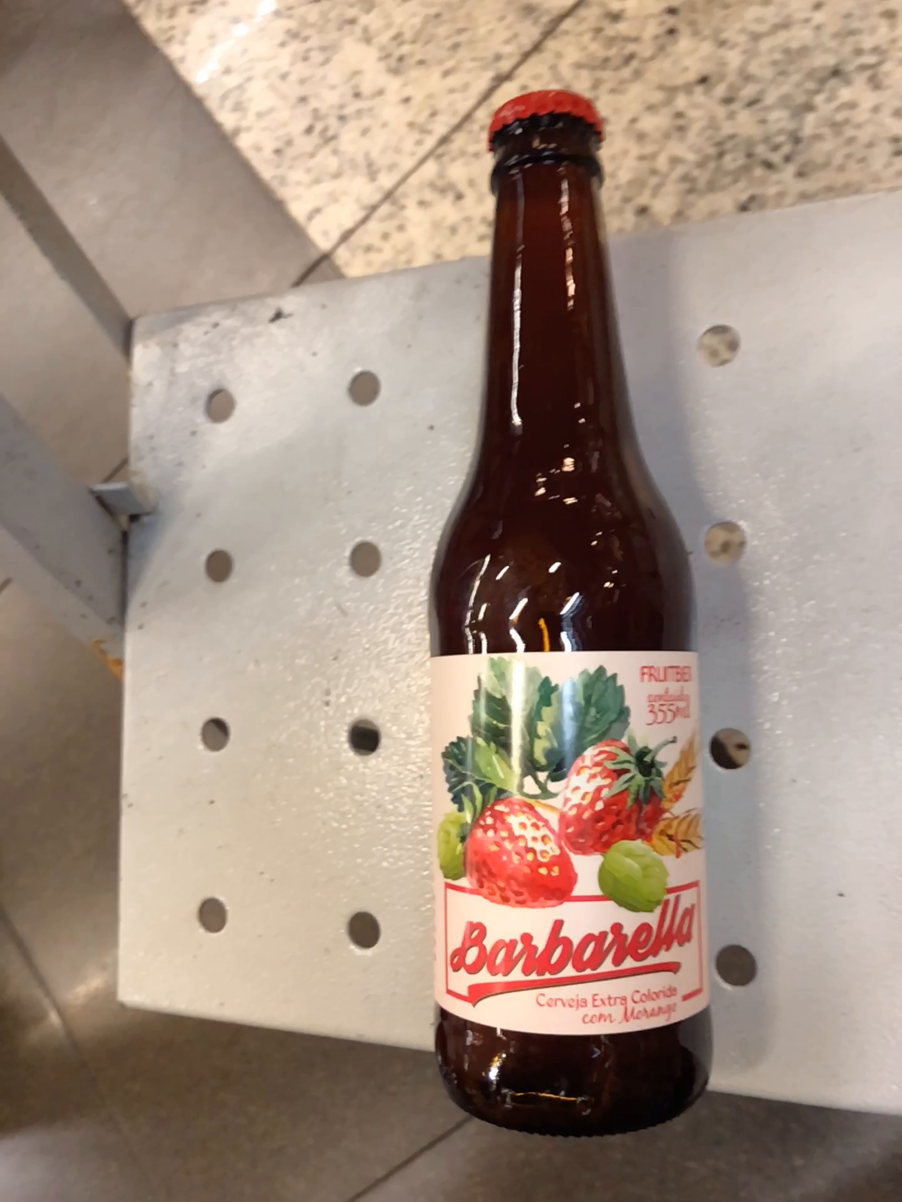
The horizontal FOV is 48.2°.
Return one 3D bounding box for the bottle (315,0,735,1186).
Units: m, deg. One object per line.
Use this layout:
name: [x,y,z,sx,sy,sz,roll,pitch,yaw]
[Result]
bottle: [0.017,-0.011,0.230,0.070,0.060,0.240,-5,83,21]
